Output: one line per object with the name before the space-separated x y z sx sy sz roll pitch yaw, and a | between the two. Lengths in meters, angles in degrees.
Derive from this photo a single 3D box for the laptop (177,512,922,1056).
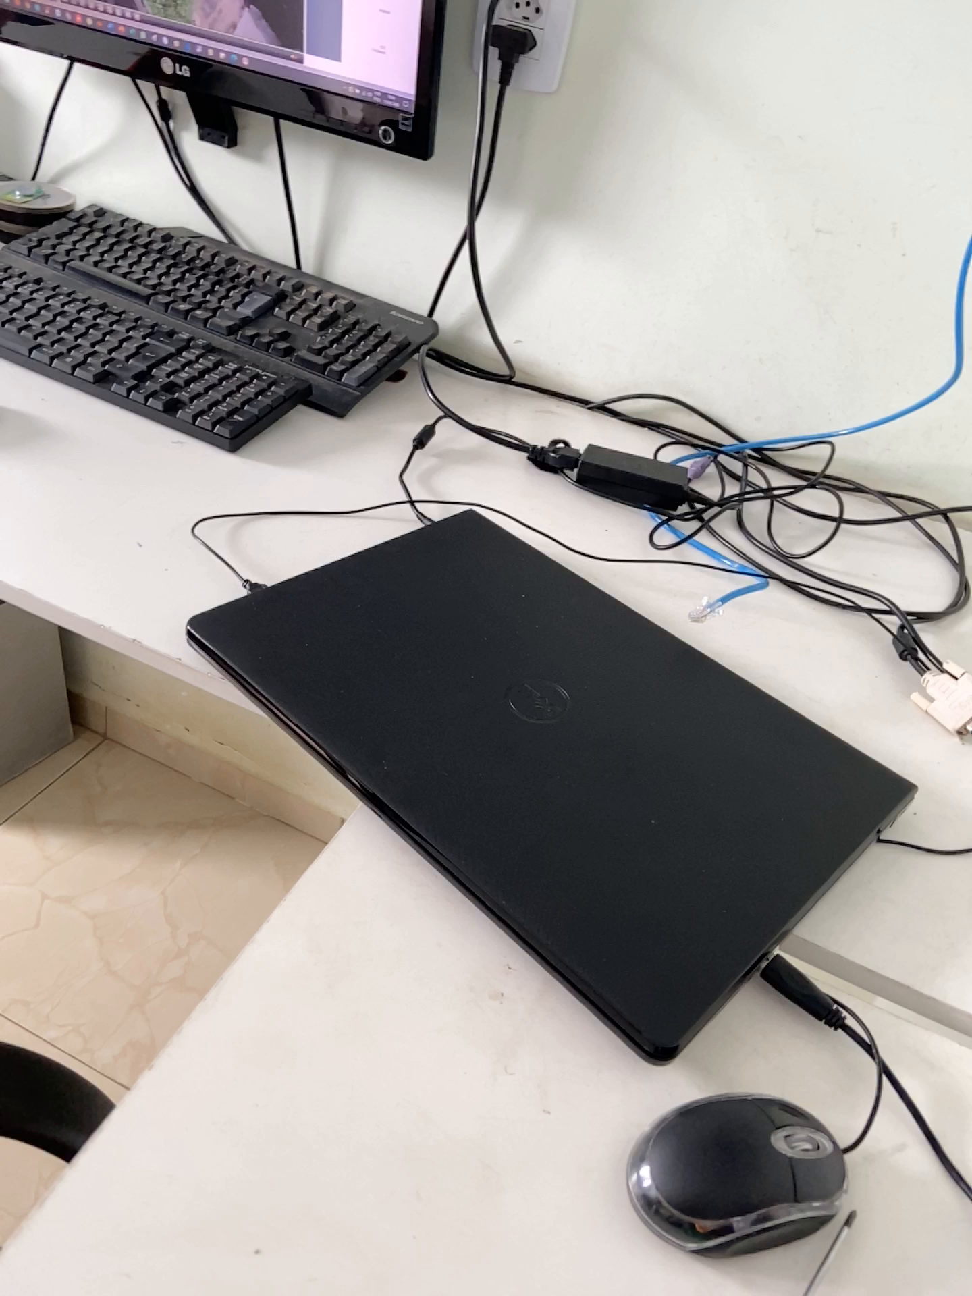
laptop | 0.036 0.035 0.602 0.376 0.003 0.261 36 43 29
